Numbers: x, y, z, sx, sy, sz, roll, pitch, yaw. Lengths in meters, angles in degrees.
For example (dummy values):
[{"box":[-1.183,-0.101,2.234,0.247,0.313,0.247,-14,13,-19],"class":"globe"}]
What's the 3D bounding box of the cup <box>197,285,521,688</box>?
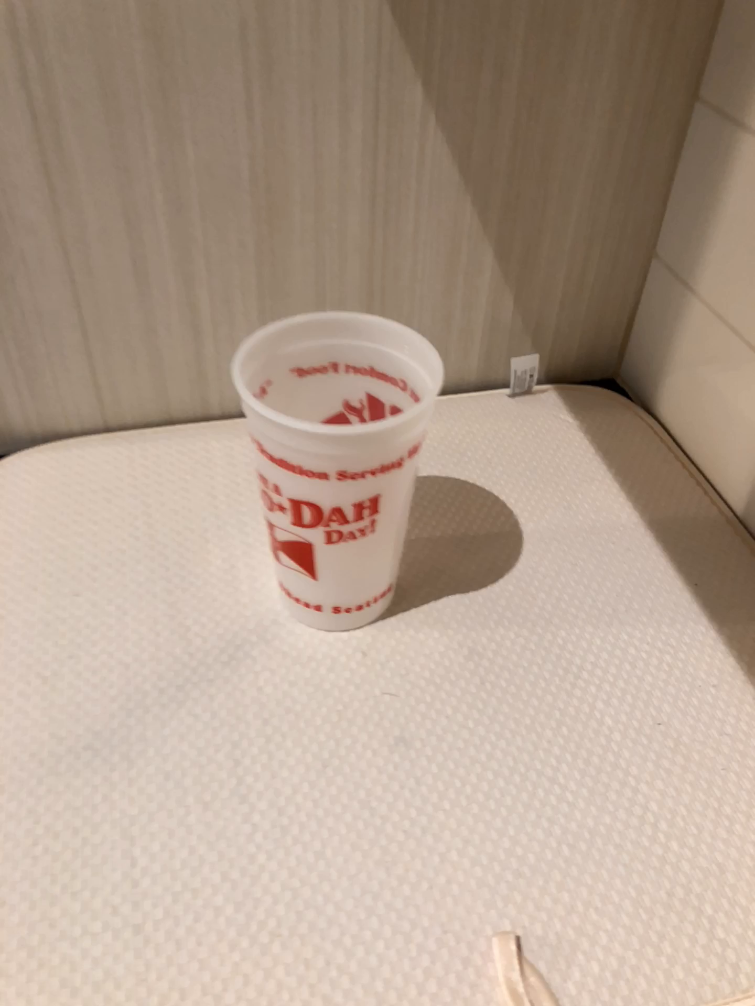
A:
[{"box":[-0.011,-0.009,0.410,0.100,0.139,0.100,2,42,-2],"class":"cup"}]
